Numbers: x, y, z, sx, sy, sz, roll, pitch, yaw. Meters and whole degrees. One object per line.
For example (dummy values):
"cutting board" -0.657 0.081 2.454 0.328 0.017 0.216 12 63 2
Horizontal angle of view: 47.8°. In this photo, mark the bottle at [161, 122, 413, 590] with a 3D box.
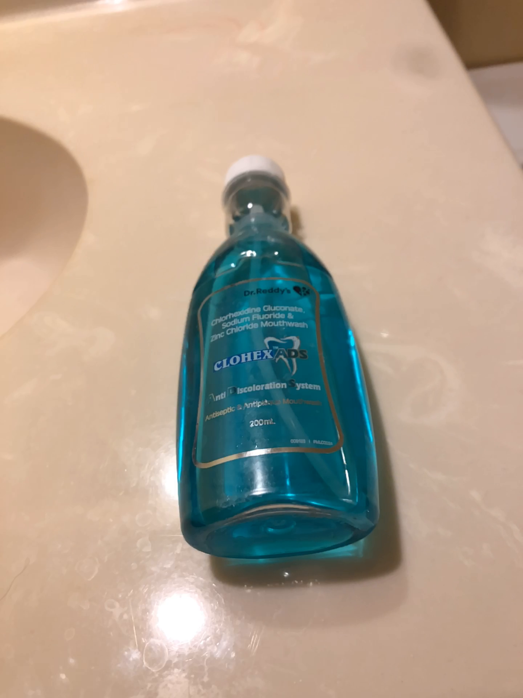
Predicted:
"bottle" 0.004 -0.017 0.246 0.070 0.040 0.210 -6 50 3
